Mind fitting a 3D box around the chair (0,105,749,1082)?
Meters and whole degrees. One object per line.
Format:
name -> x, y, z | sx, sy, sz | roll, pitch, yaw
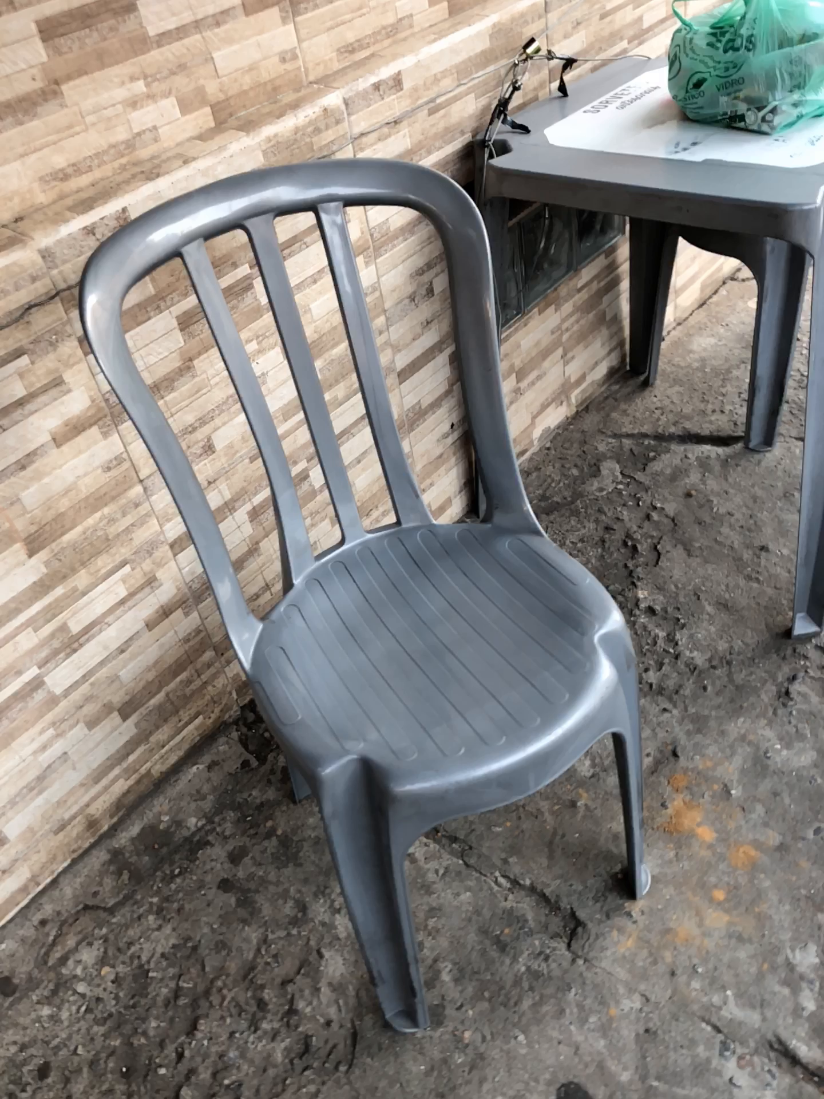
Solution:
chair -> -0.019, 0.064, 0.985 | 0.440, 0.834, 0.503 | -25, 42, -15
